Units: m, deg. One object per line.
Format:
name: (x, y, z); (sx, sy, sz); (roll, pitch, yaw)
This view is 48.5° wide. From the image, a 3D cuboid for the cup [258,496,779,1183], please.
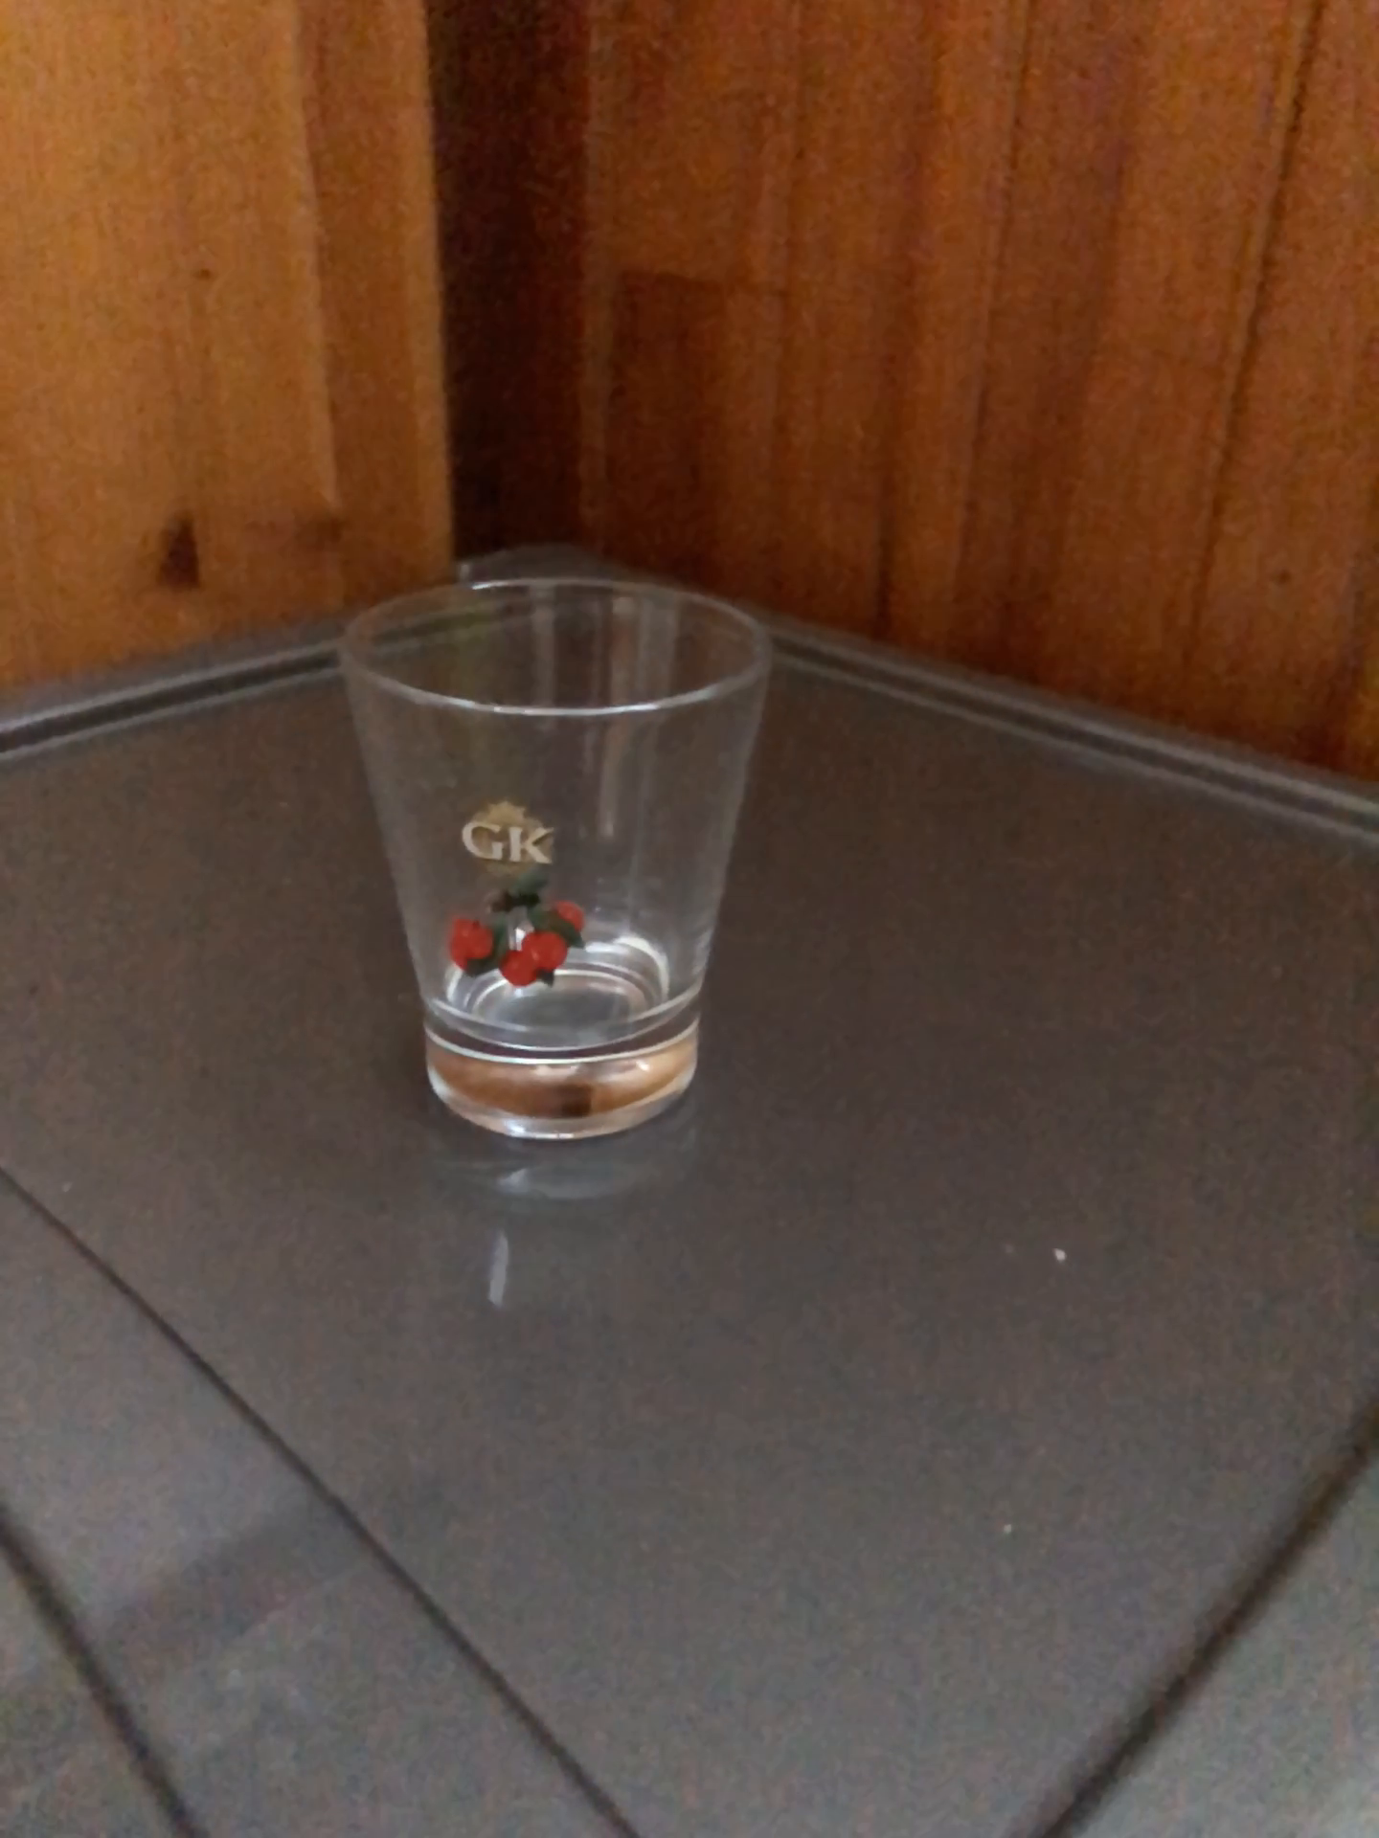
cup: (-0.021, -0.013, 0.222); (0.060, 0.080, 0.060); (2, 28, -1)
